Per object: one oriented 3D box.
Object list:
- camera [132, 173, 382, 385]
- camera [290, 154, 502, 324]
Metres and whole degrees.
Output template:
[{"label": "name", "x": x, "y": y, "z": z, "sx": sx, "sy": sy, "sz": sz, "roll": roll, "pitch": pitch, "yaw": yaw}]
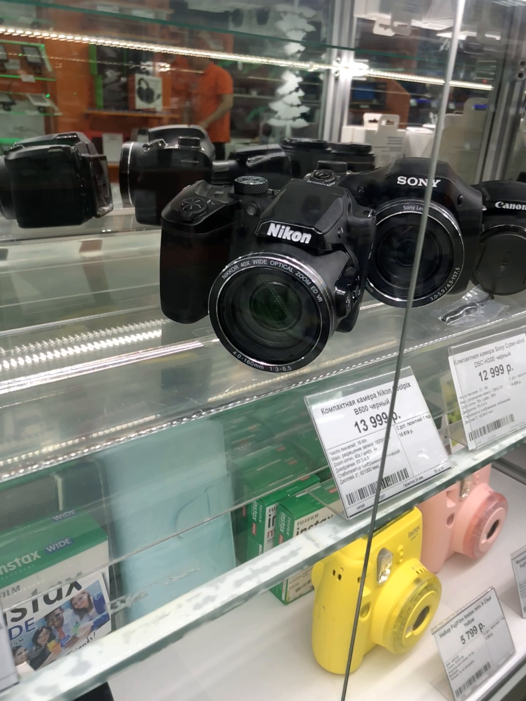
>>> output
[{"label": "camera", "x": 0.002, "y": -0.046, "z": 0.313, "sx": 0.110, "sy": 0.080, "sz": 0.099, "roll": 8, "pitch": 22, "yaw": 9}, {"label": "camera", "x": 0.086, "y": -0.081, "z": 0.393, "sx": 0.114, "sy": 0.084, "sz": 0.099, "roll": 7, "pitch": 24, "yaw": 11}]
